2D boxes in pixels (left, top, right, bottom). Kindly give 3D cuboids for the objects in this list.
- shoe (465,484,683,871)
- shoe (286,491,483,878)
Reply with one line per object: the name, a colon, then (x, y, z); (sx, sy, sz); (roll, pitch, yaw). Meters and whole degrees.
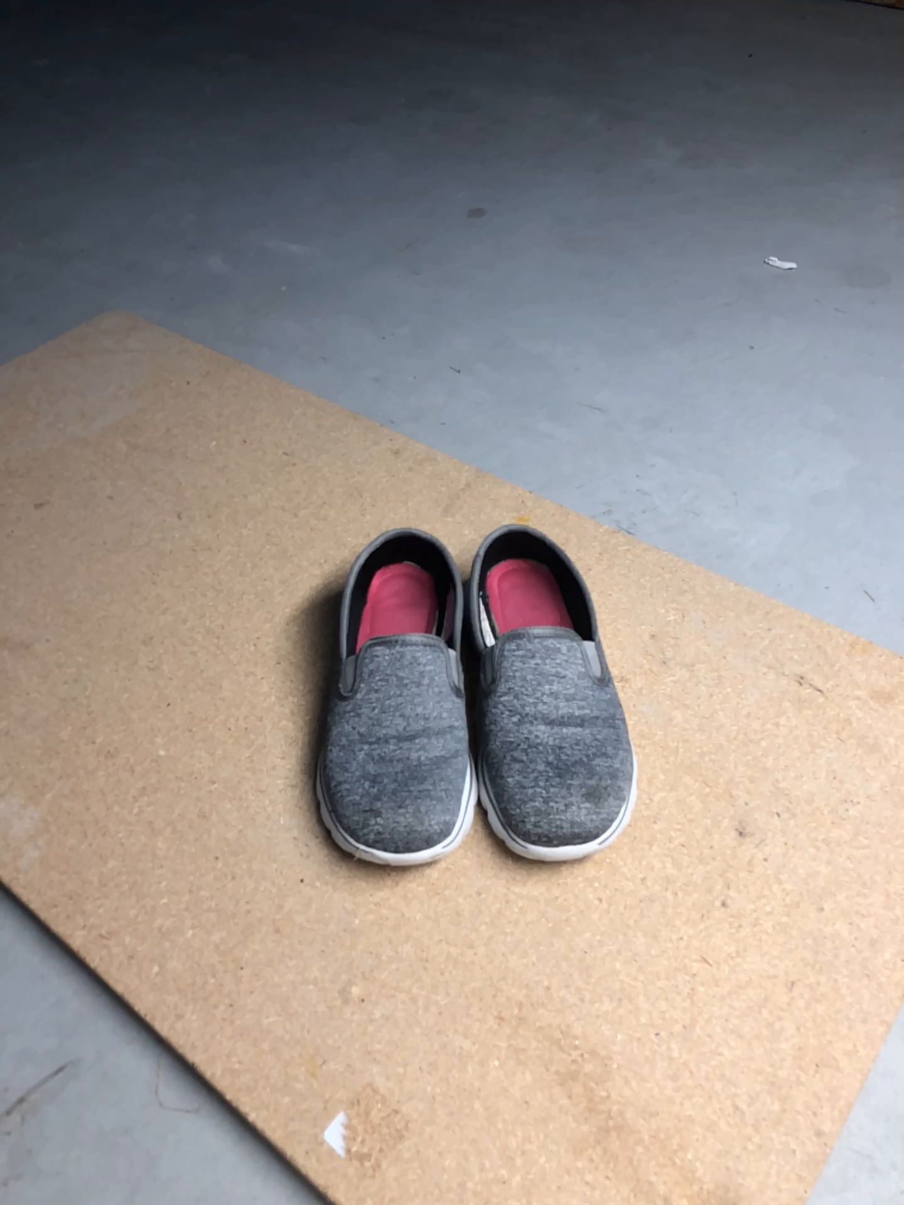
shoe: (0.065, 0.035, 0.625); (0.100, 0.073, 0.251); (-3, 45, 0)
shoe: (-0.039, 0.039, 0.621); (0.100, 0.070, 0.251); (-3, 45, 0)
